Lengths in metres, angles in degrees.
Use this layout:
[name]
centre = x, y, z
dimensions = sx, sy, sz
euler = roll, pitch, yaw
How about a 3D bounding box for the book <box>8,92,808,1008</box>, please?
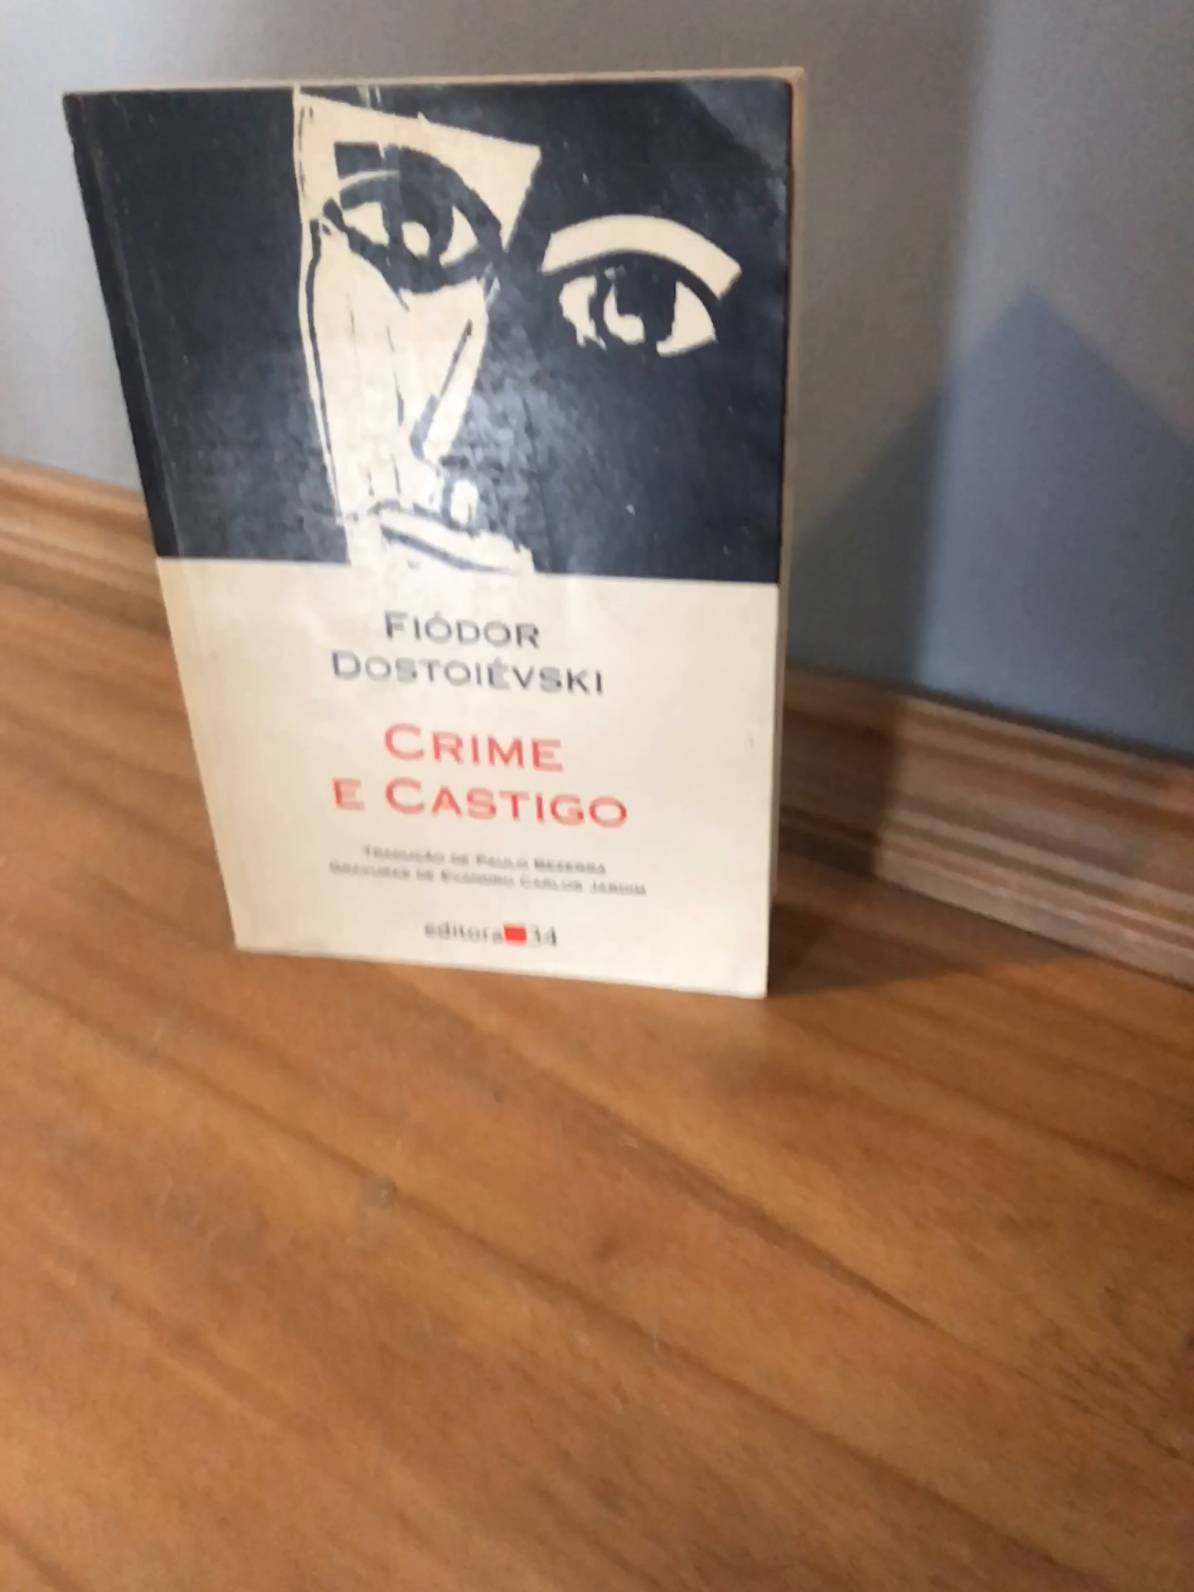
[book]
centre = -0.038, -0.056, 0.348
dimensions = 0.170, 0.222, 0.046
euler = 4, 30, 10
